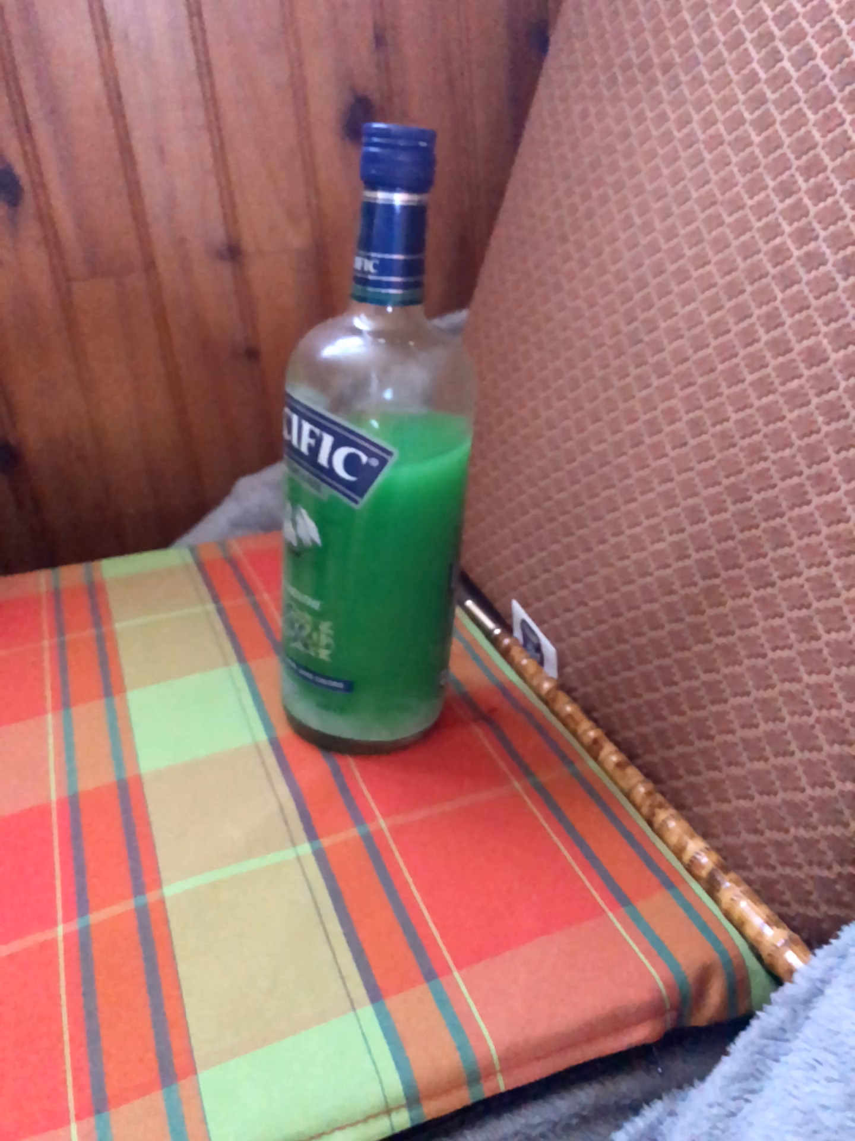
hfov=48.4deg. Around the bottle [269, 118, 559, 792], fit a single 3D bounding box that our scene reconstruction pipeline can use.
[{"bbox_3d":[-0.017,-0.051,0.450,0.080,0.289,0.090,-8,26,-30],"label":"bottle"}]
